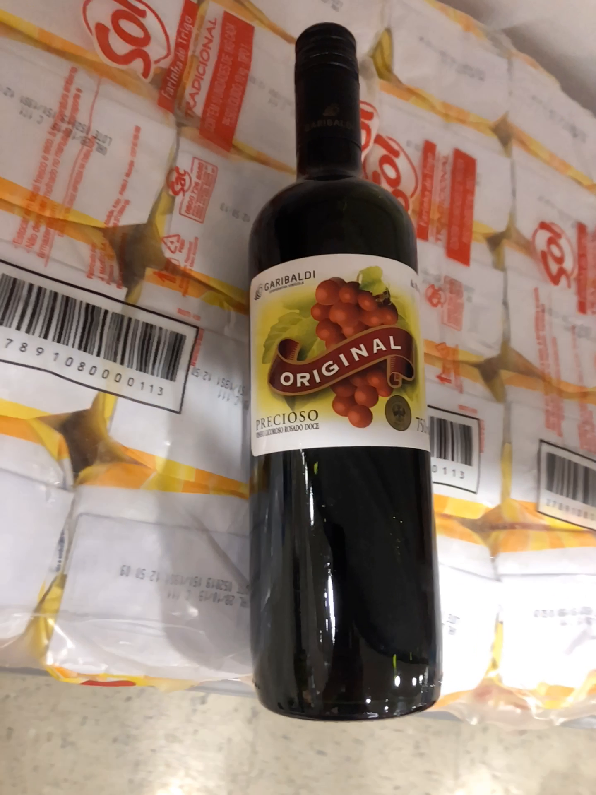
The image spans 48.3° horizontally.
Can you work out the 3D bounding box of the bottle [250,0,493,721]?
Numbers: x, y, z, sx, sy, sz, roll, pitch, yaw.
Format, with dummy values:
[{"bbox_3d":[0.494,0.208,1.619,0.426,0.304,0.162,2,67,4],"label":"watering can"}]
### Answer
[{"bbox_3d":[0.021,-0.039,0.299,0.080,0.070,0.320,-1,76,-4],"label":"bottle"}]
